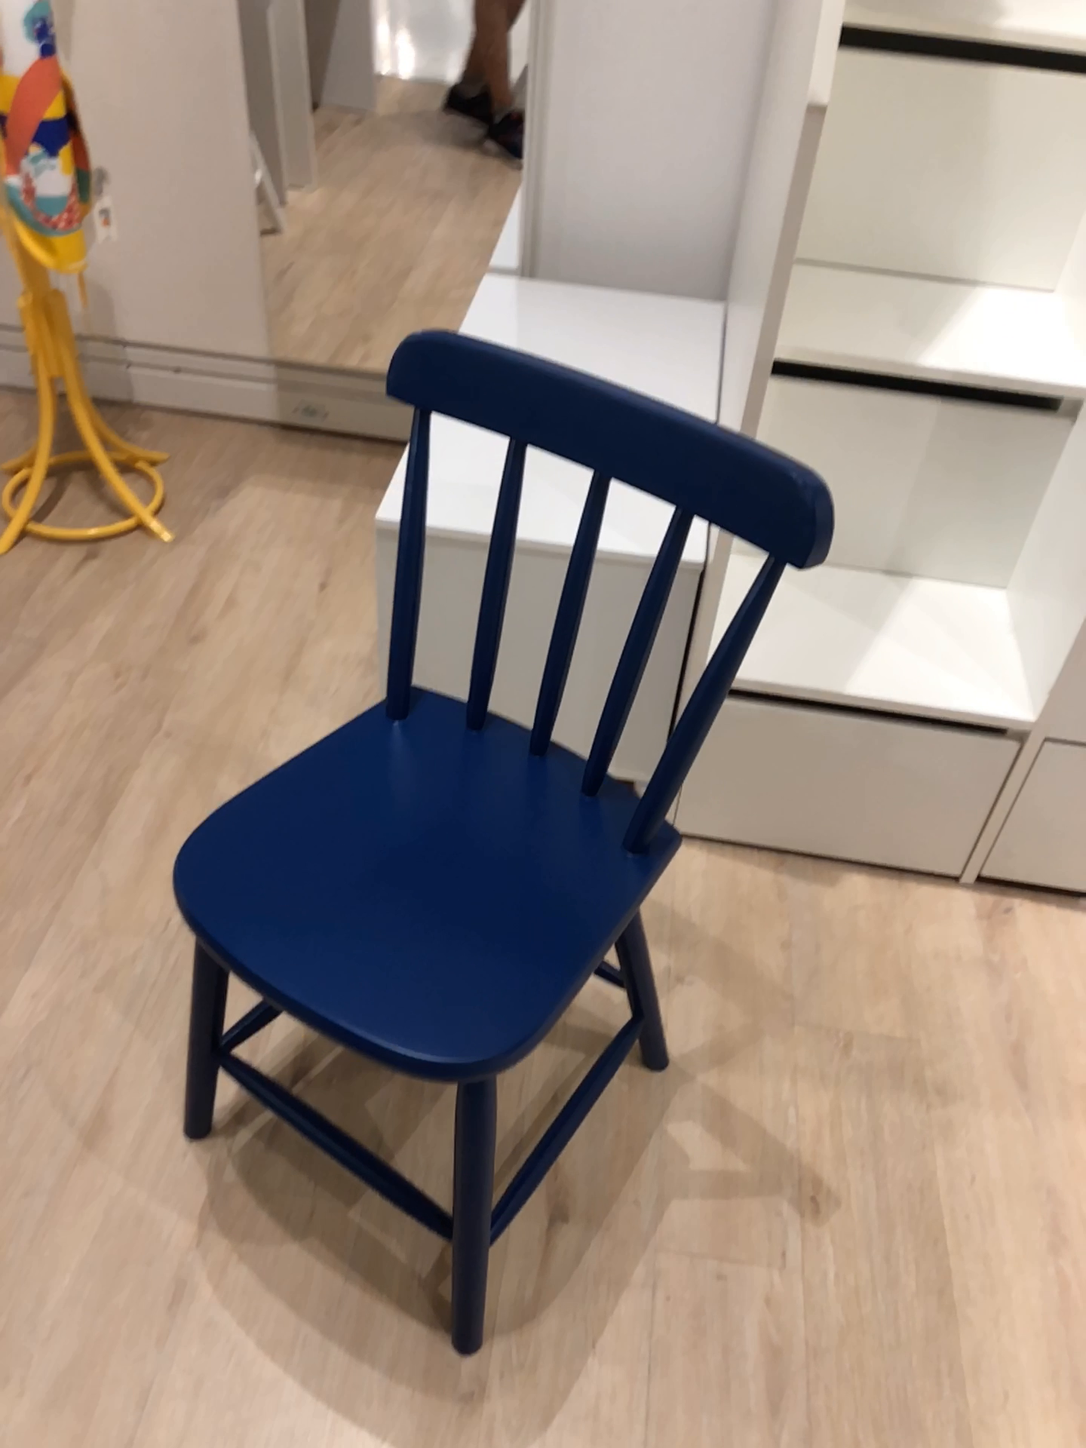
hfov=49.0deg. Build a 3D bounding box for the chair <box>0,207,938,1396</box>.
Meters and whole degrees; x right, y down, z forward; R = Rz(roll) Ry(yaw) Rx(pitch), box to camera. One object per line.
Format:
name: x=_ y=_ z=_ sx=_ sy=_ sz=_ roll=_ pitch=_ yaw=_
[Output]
chair: x=-0.079 y=0.081 z=1.044 sx=0.461 sy=0.804 sz=0.482 roll=29 pitch=47 yaw=23
